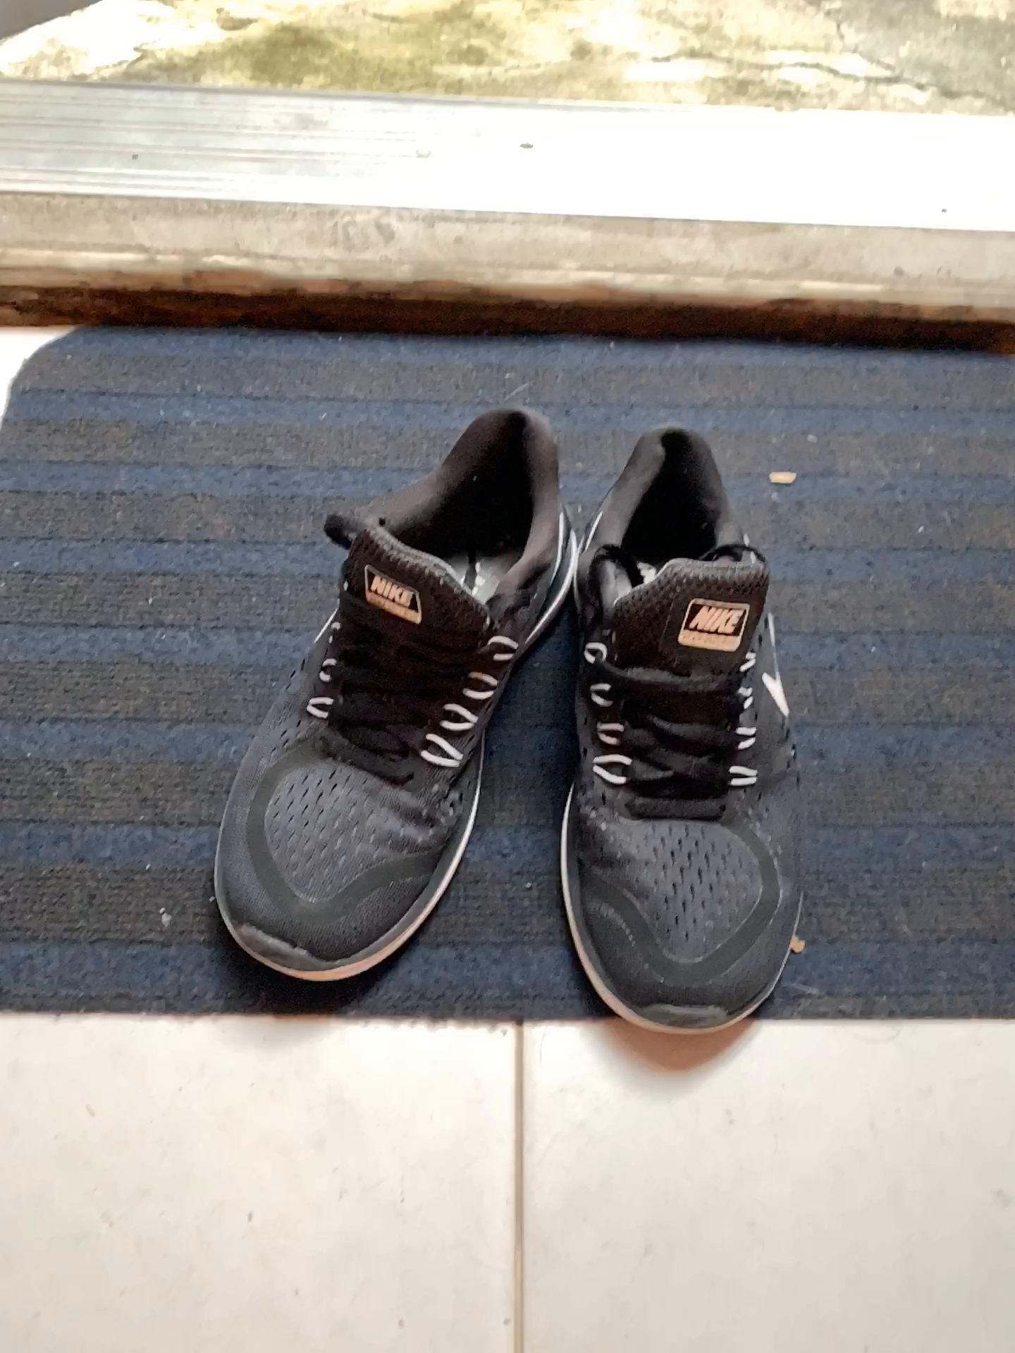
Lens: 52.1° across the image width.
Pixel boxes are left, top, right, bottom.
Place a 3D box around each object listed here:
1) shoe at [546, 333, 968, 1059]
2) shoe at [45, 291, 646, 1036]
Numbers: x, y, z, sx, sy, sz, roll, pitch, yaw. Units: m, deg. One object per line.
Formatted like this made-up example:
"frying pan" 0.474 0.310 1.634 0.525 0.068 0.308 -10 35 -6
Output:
"shoe" 0.074 0.001 0.399 0.106 0.119 0.249 3 57 -1
"shoe" -0.041 -0.014 0.404 0.104 0.119 0.249 19 58 10
